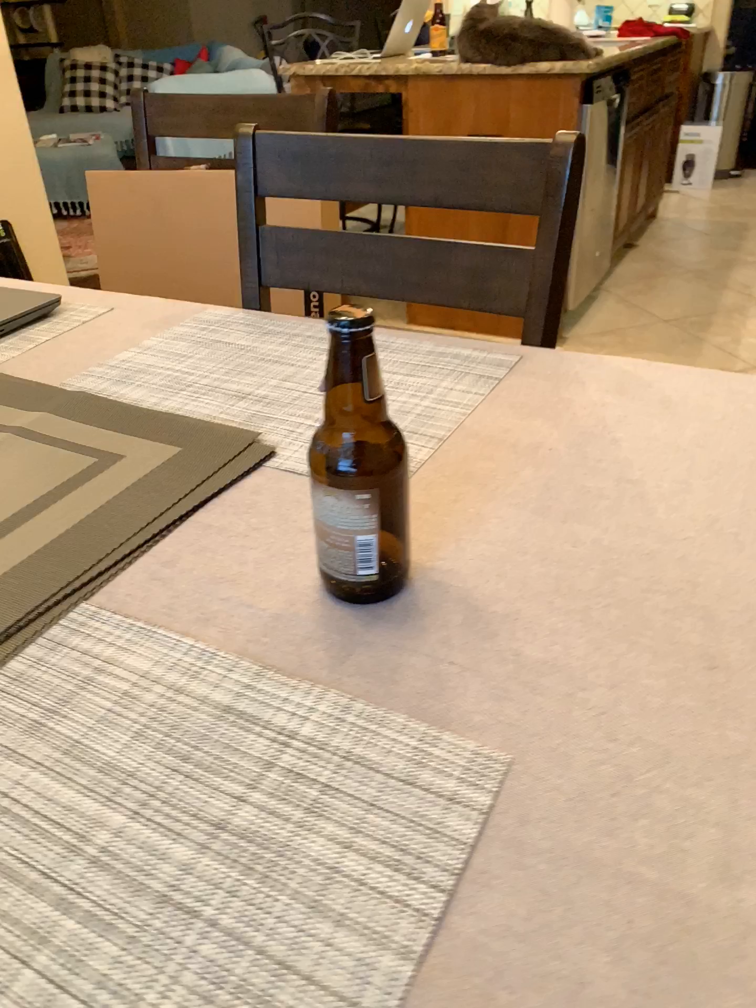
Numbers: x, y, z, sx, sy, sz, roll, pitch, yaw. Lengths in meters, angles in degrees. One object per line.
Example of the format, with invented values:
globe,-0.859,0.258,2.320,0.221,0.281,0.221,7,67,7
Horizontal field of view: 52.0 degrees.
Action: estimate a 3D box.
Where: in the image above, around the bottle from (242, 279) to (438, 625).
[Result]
bottle,-0.017,-0.032,0.492,0.080,0.189,0.080,-2,32,1
